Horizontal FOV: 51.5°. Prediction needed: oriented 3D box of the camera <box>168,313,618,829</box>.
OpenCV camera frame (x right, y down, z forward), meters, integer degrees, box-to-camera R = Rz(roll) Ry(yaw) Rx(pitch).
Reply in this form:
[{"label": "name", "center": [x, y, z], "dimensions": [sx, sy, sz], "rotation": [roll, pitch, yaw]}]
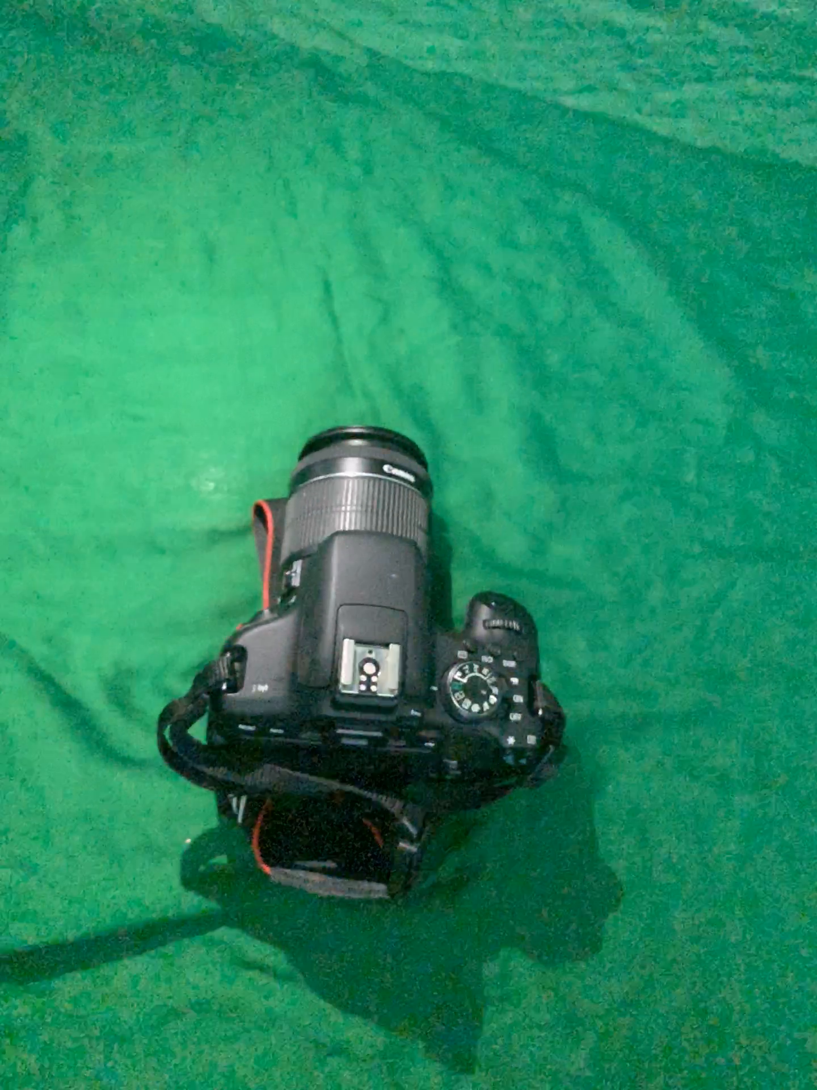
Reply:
[{"label": "camera", "center": [-0.006, 0.017, 0.367], "dimensions": [0.152, 0.100, 0.191], "rotation": [4, 68, -6]}]
